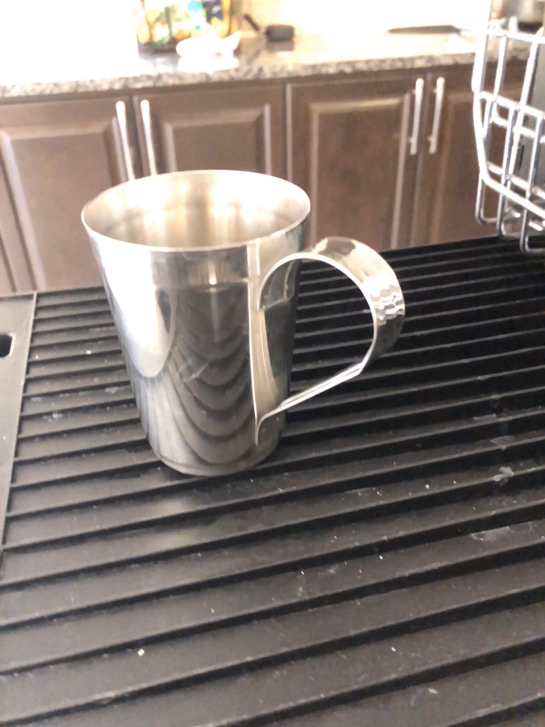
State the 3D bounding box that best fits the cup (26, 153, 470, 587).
[{"bbox_3d":[-0.007,-0.006,0.202,0.110,0.097,0.065,19,38,28],"label":"cup"}]
